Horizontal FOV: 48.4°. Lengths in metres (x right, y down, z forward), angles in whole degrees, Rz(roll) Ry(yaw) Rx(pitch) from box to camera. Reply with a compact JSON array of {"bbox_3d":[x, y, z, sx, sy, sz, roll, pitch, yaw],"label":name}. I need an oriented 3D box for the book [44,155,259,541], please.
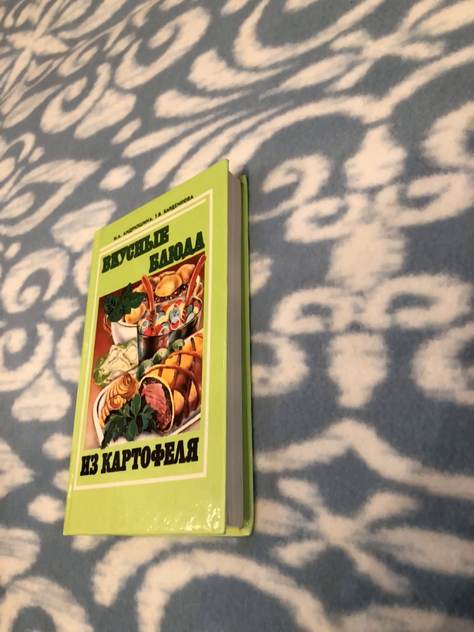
[{"bbox_3d":[-0.051,0.022,0.308,0.136,0.025,0.201,-18,61,37],"label":"book"}]
